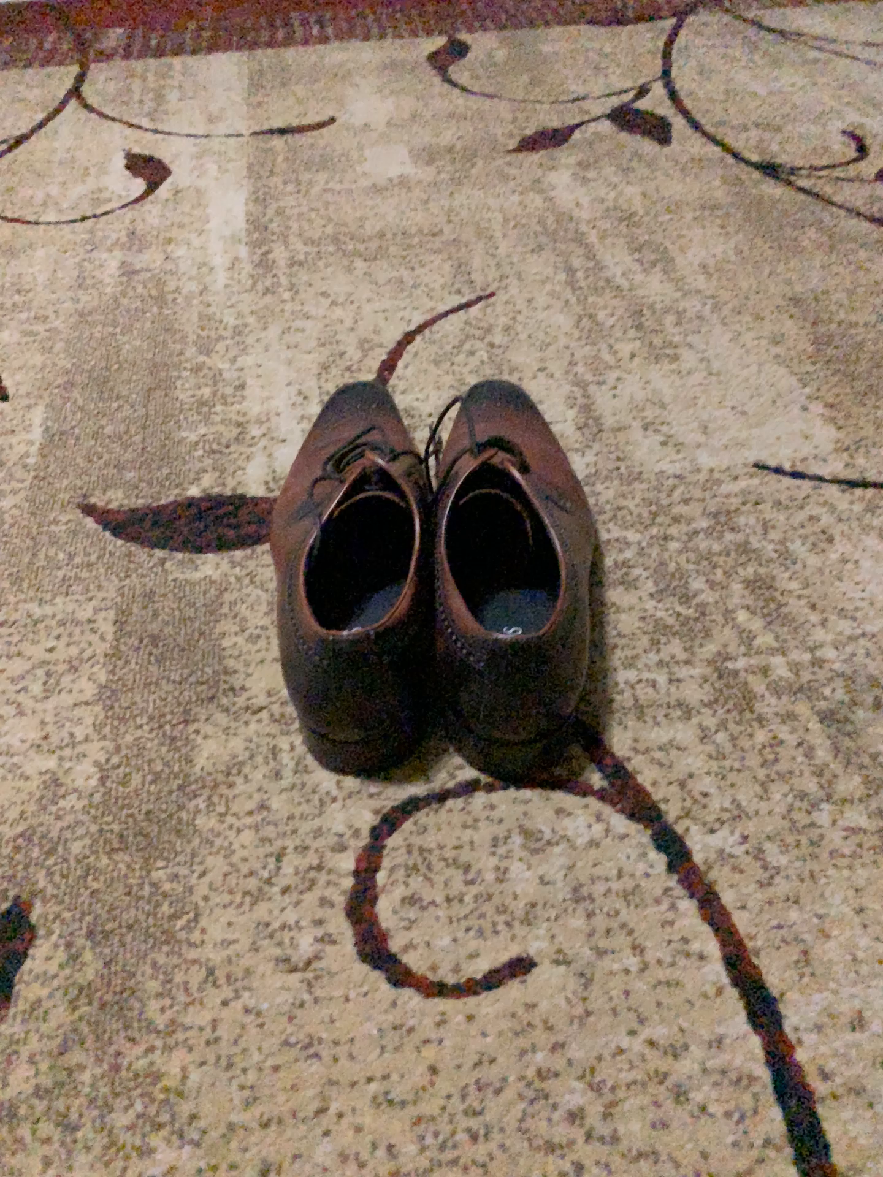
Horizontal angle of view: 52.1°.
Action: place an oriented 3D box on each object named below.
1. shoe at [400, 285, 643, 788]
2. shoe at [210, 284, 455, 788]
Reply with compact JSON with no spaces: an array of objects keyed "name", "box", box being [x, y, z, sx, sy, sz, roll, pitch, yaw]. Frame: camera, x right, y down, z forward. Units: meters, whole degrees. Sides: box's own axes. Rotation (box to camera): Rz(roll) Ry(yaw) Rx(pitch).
[{"name":"shoe","box":[0.039,-0.043,0.493,0.095,0.115,0.276,0,46,3]},{"name":"shoe","box":[-0.051,-0.044,0.499,0.095,0.115,0.276,-4,46,-1]}]
